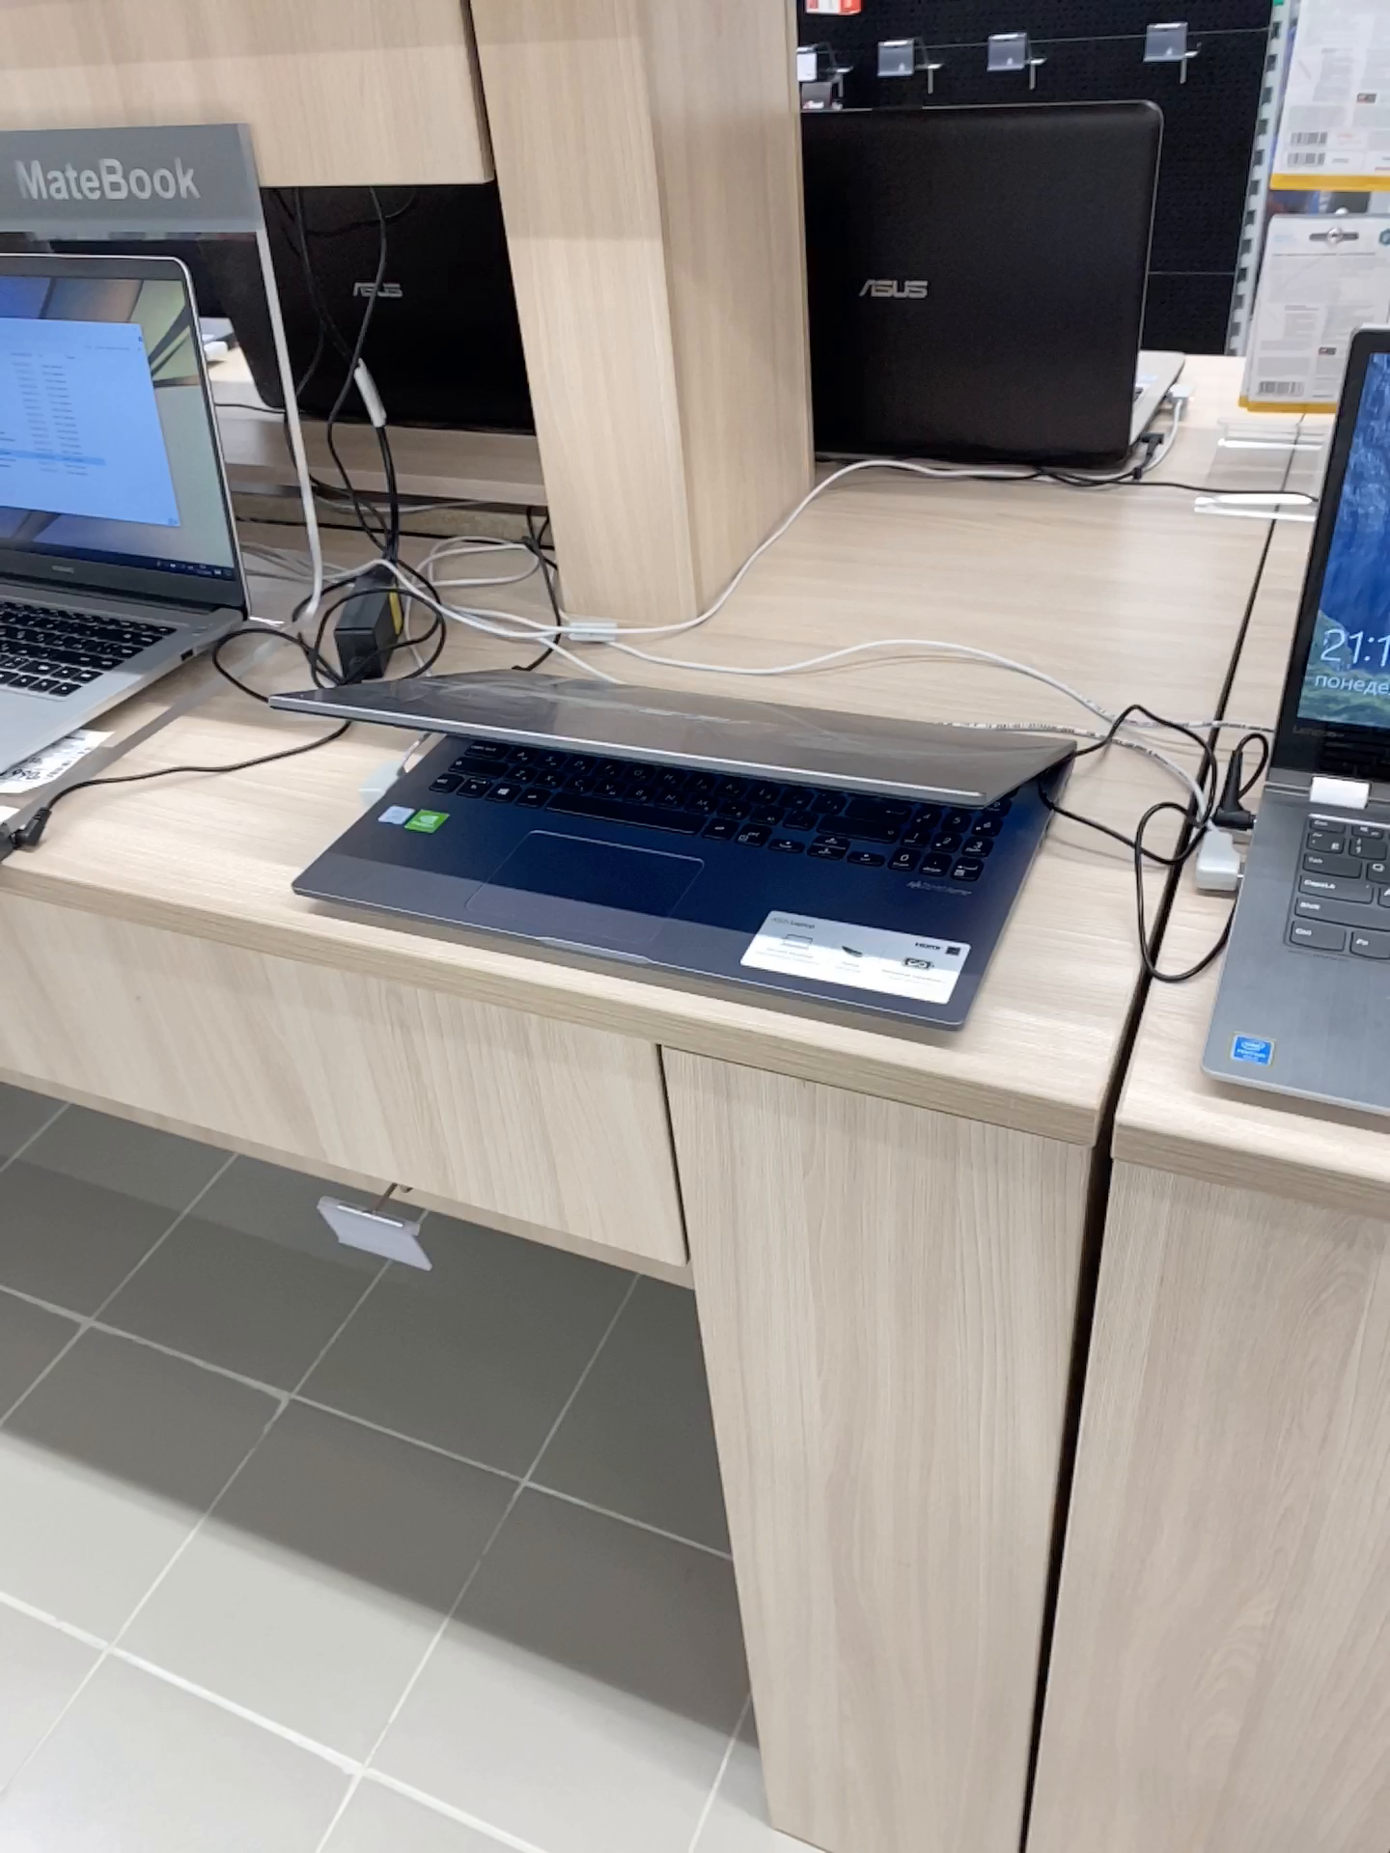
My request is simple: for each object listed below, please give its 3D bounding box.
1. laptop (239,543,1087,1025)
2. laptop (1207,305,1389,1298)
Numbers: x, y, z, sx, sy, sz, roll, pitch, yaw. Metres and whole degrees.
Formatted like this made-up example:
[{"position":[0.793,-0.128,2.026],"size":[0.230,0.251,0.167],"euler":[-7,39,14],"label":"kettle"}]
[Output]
[{"position":[-0.007,-0.094,0.728],"size":[0.355,0.097,0.230],"euler":[11,39,22],"label":"laptop"},{"position":[0.409,-0.078,0.538],"size":[0.352,0.222,0.259],"euler":[10,40,21],"label":"laptop"}]
